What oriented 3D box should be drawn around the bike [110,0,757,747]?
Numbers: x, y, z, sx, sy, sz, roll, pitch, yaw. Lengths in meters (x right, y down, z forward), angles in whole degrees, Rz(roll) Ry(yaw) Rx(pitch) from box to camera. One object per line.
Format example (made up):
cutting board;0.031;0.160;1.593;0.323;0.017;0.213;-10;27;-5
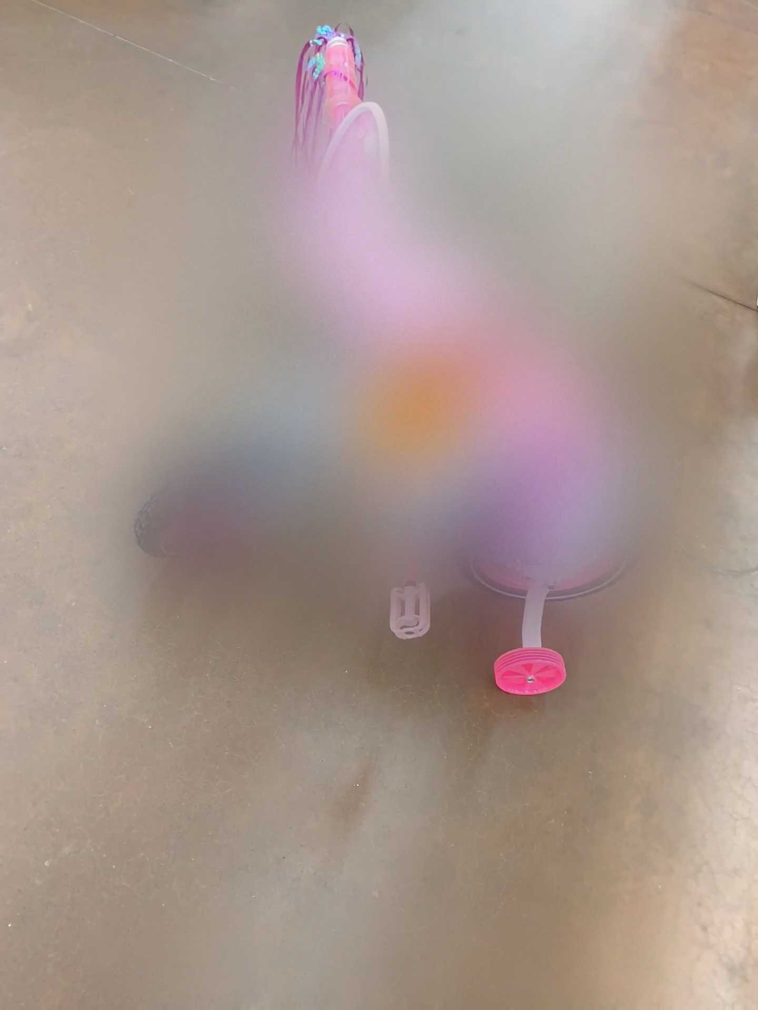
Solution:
bike;0.094;-0.061;0.982;0.759;0.750;0.444;1;52;-17
